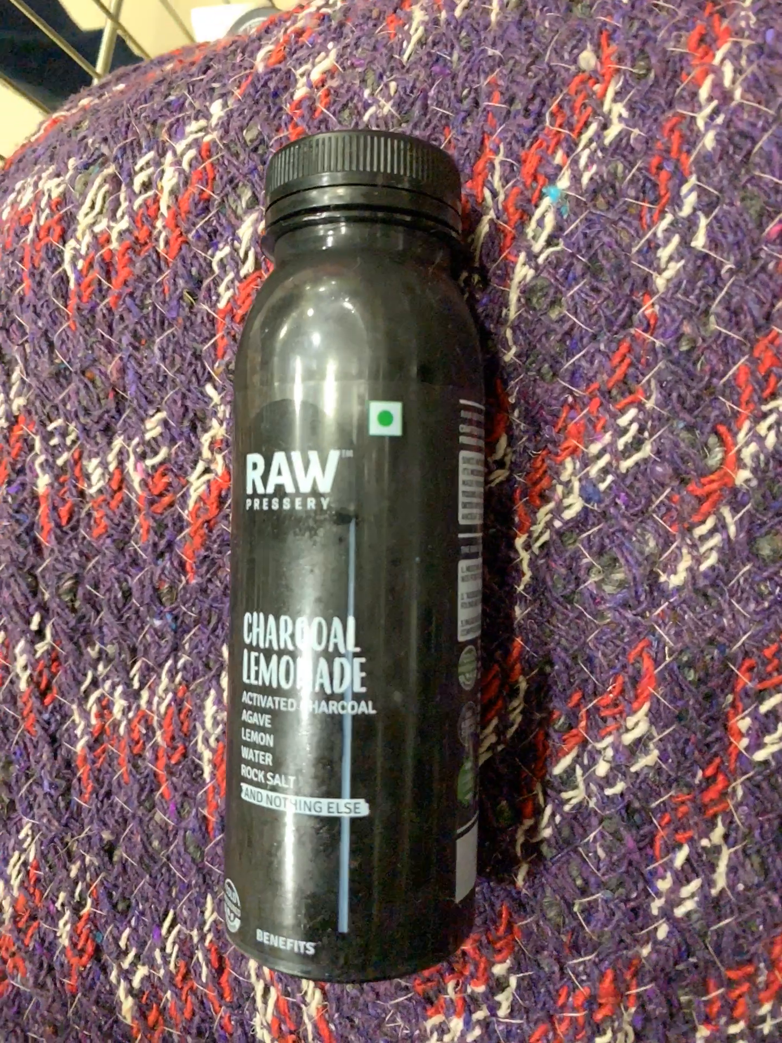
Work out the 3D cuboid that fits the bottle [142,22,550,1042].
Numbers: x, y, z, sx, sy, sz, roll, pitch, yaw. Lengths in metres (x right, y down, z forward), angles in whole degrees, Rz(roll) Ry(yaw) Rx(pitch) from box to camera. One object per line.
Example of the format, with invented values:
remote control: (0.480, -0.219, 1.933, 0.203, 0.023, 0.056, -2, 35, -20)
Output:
bottle: (-0.006, 0.006, 0.156, 0.060, 0.050, 0.160, 2, 94, 21)
